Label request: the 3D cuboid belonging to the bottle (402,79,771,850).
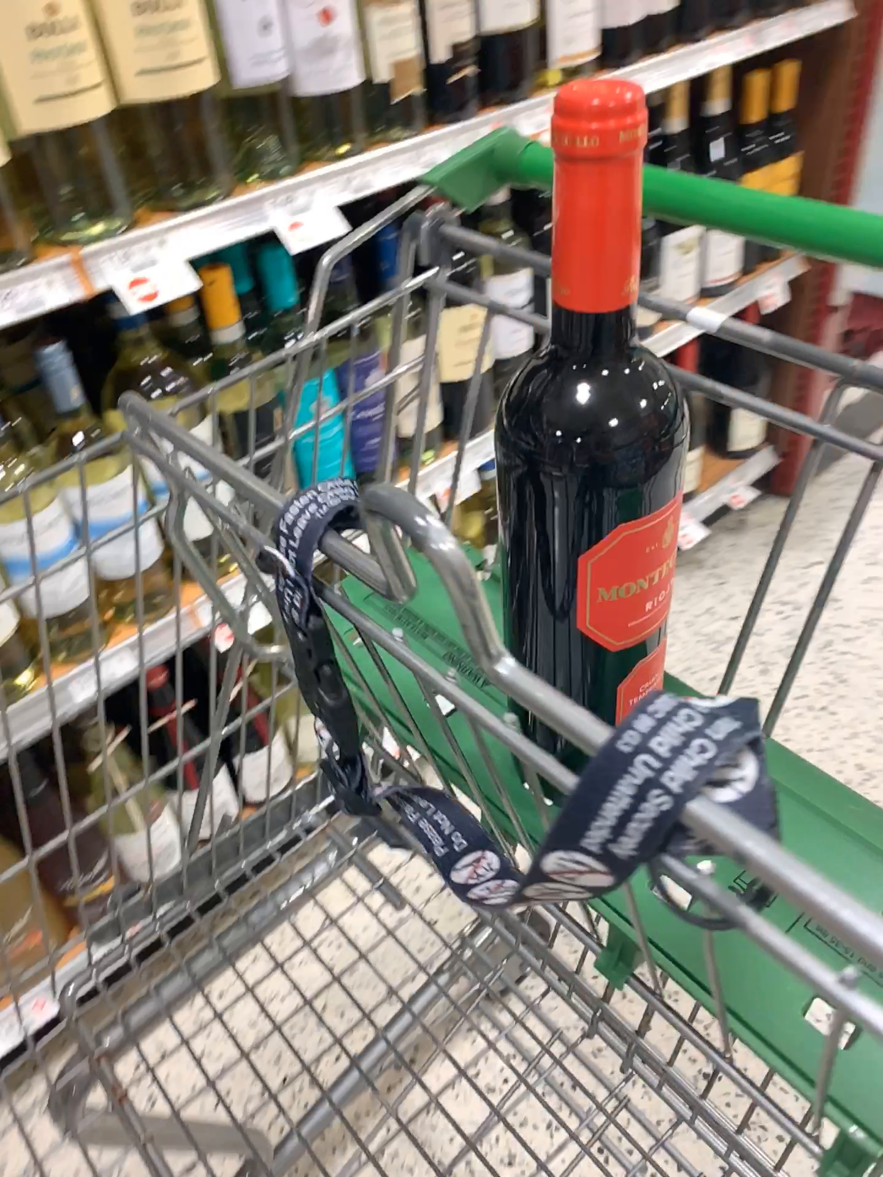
[{"bbox_3d":[0.055,-0.030,0.371,0.080,0.297,0.080,-3,39,3],"label":"bottle"}]
